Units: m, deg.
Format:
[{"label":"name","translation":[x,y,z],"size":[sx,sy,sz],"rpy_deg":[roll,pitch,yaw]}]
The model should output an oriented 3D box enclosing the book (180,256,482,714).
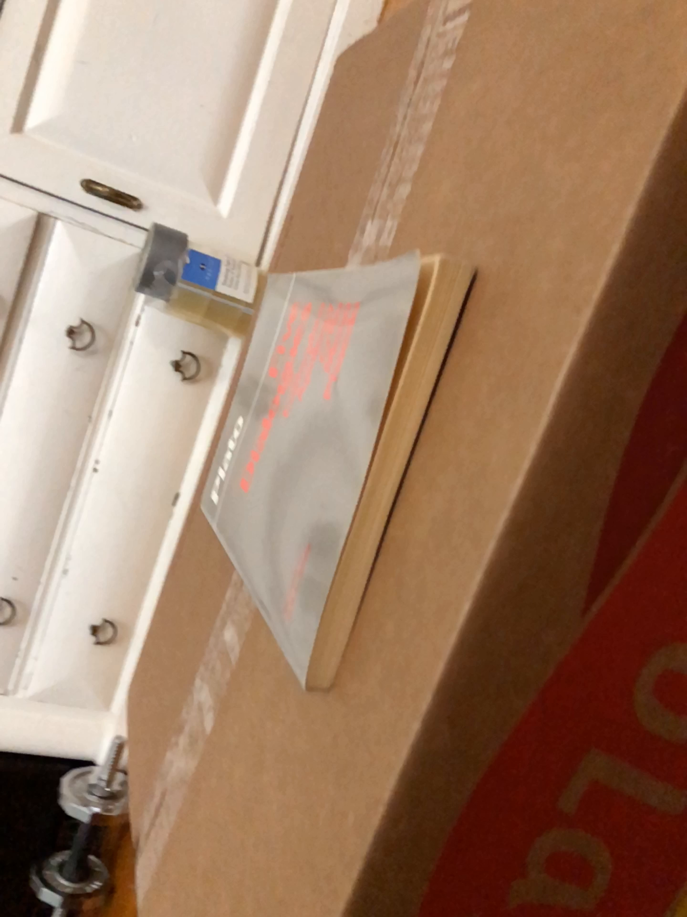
[{"label":"book","translation":[-0.026,-0.010,0.330],"size":[0.221,0.020,0.140],"rpy_deg":[29,102,68]}]
